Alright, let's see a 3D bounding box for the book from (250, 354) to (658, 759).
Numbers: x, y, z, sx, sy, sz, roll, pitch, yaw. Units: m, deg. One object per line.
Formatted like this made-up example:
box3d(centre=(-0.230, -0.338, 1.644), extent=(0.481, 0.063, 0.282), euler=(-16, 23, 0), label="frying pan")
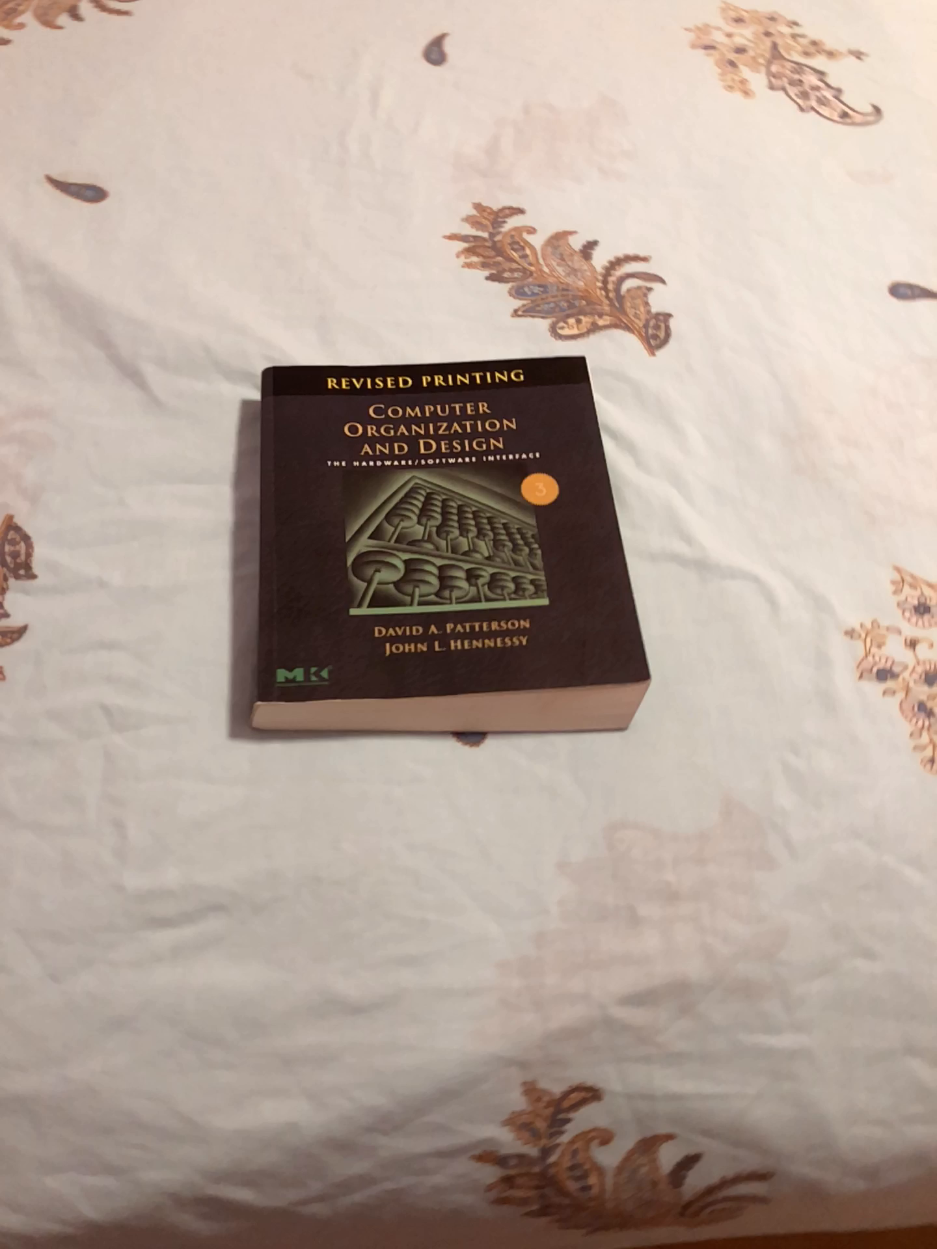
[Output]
box3d(centre=(-0.018, -0.047, 0.591), extent=(0.201, 0.073, 0.226), euler=(-2, 60, -7), label="book")
